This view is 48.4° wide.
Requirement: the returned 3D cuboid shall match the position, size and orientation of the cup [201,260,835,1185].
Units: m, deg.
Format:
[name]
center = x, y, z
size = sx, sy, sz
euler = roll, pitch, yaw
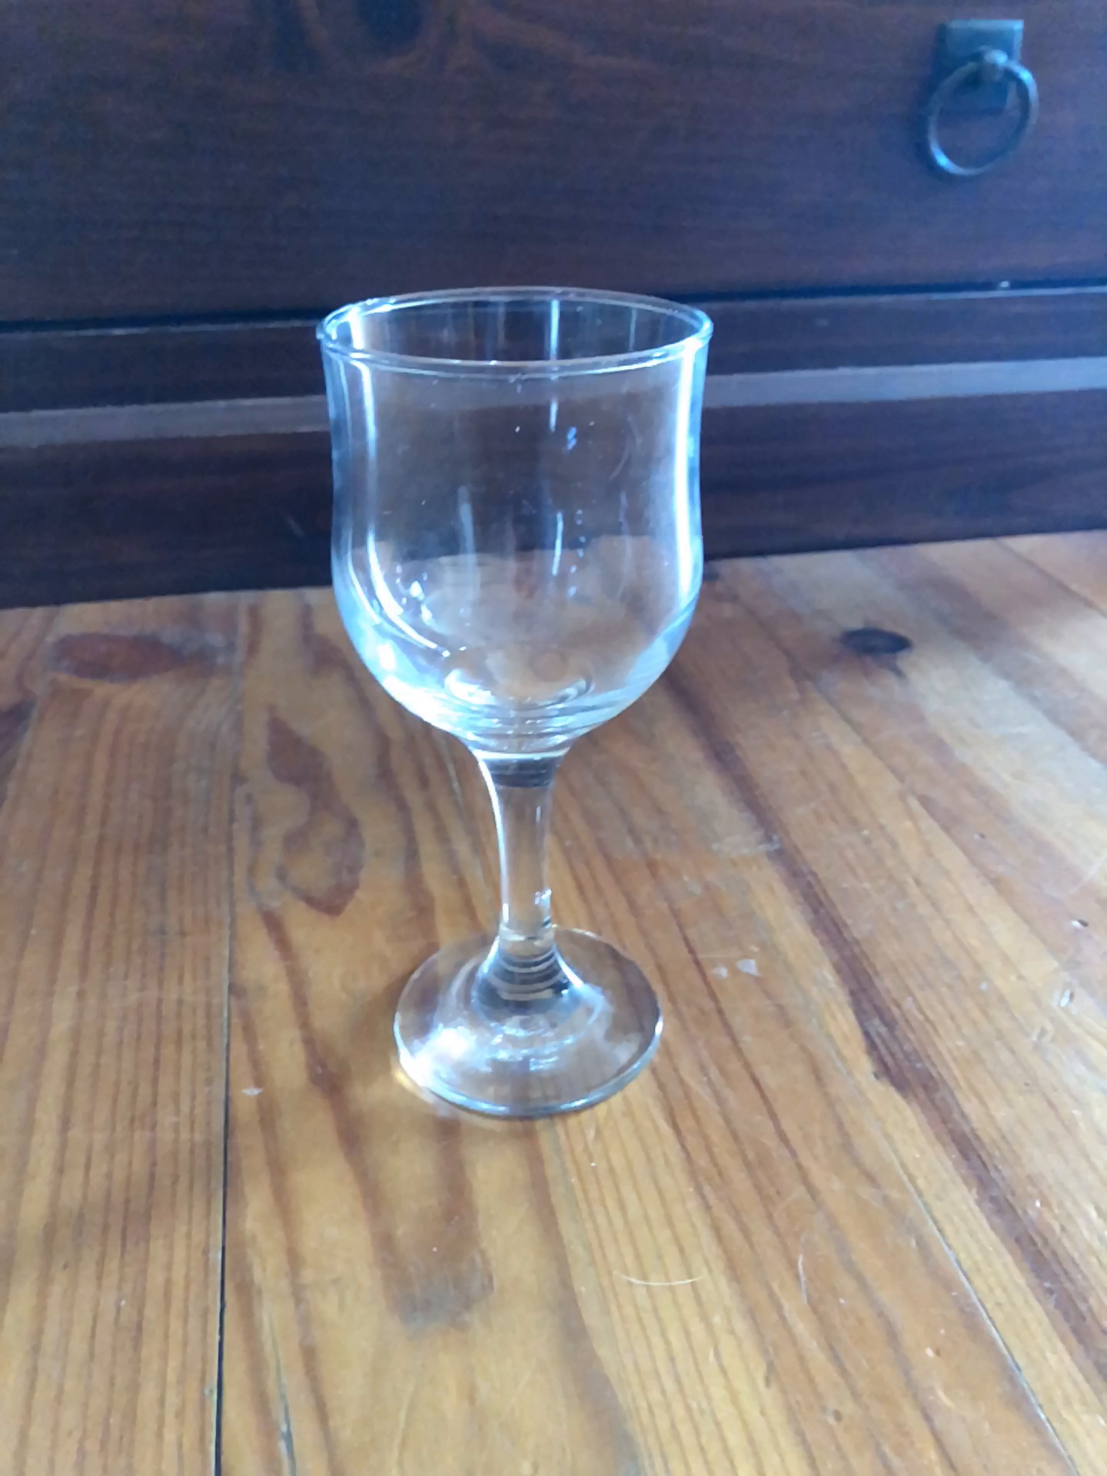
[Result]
[cup]
center = -0.006, -0.008, 0.255
size = 0.083, 0.157, 0.076
euler = 0, 29, 0
